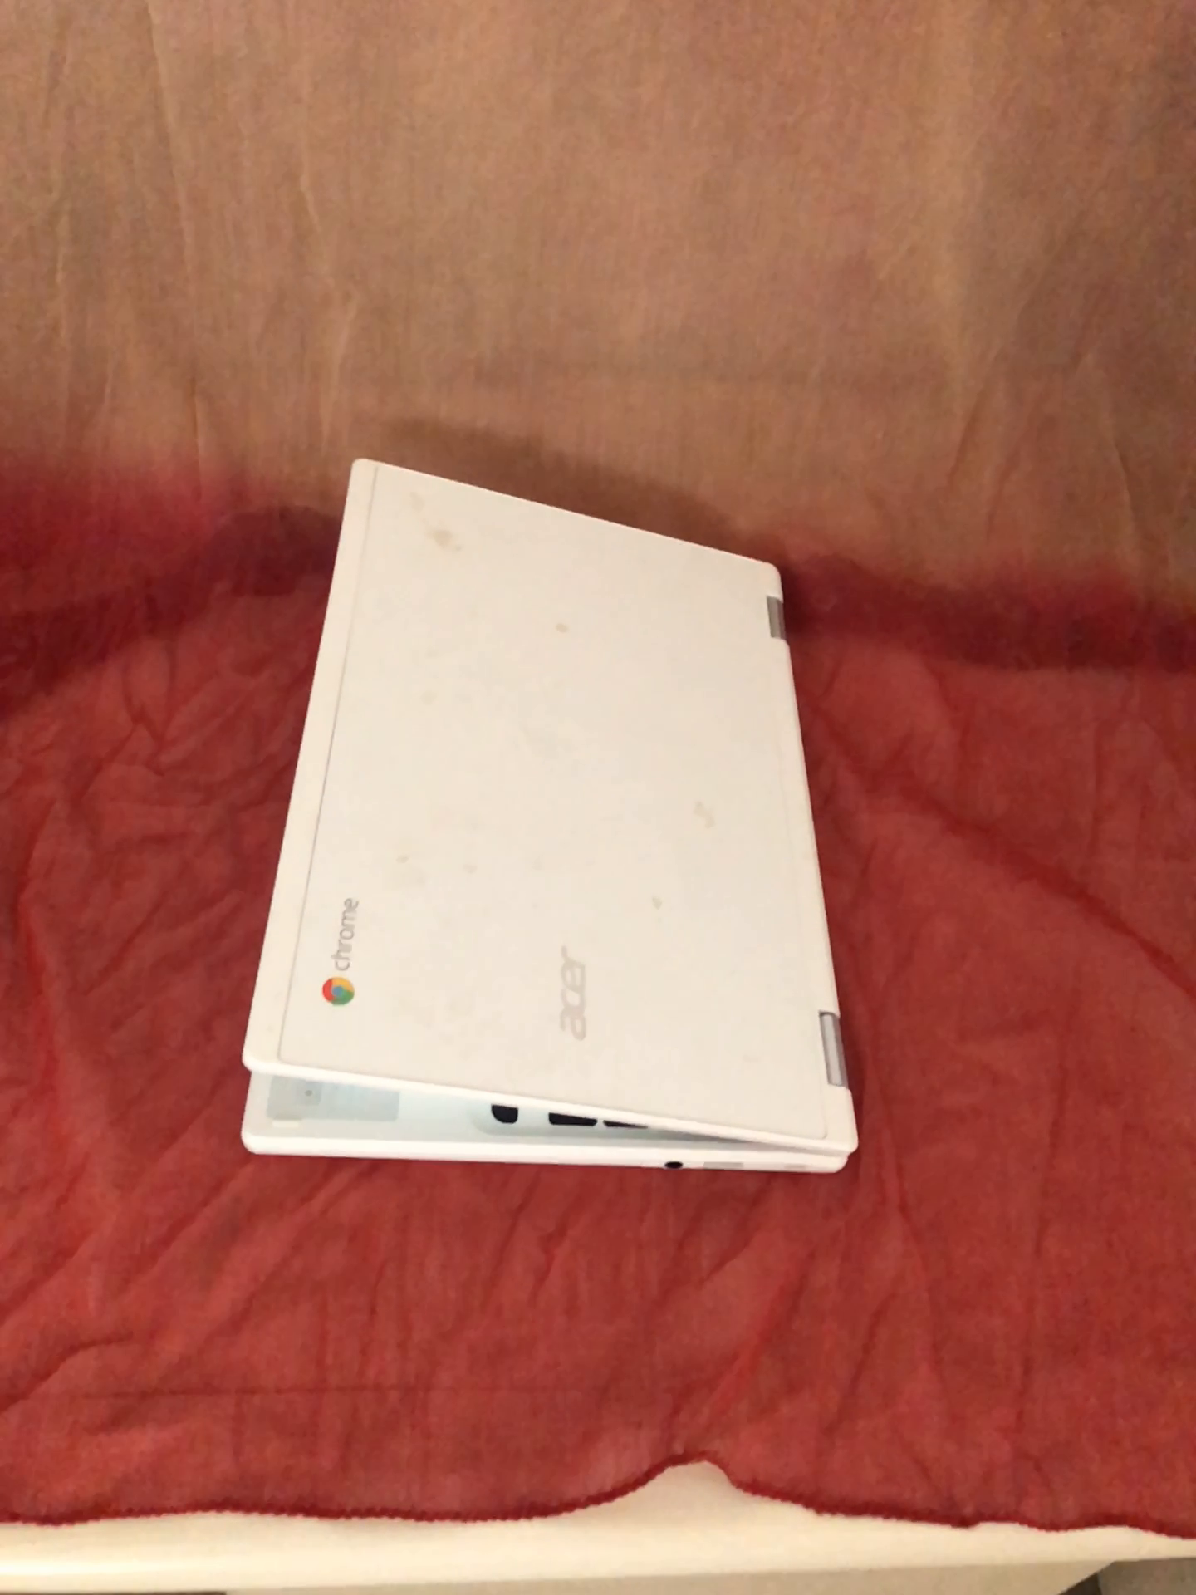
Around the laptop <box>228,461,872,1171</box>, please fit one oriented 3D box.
[{"bbox_3d":[-0.013,-0.011,0.503,0.189,0.055,0.289,4,49,-3],"label":"laptop"}]
